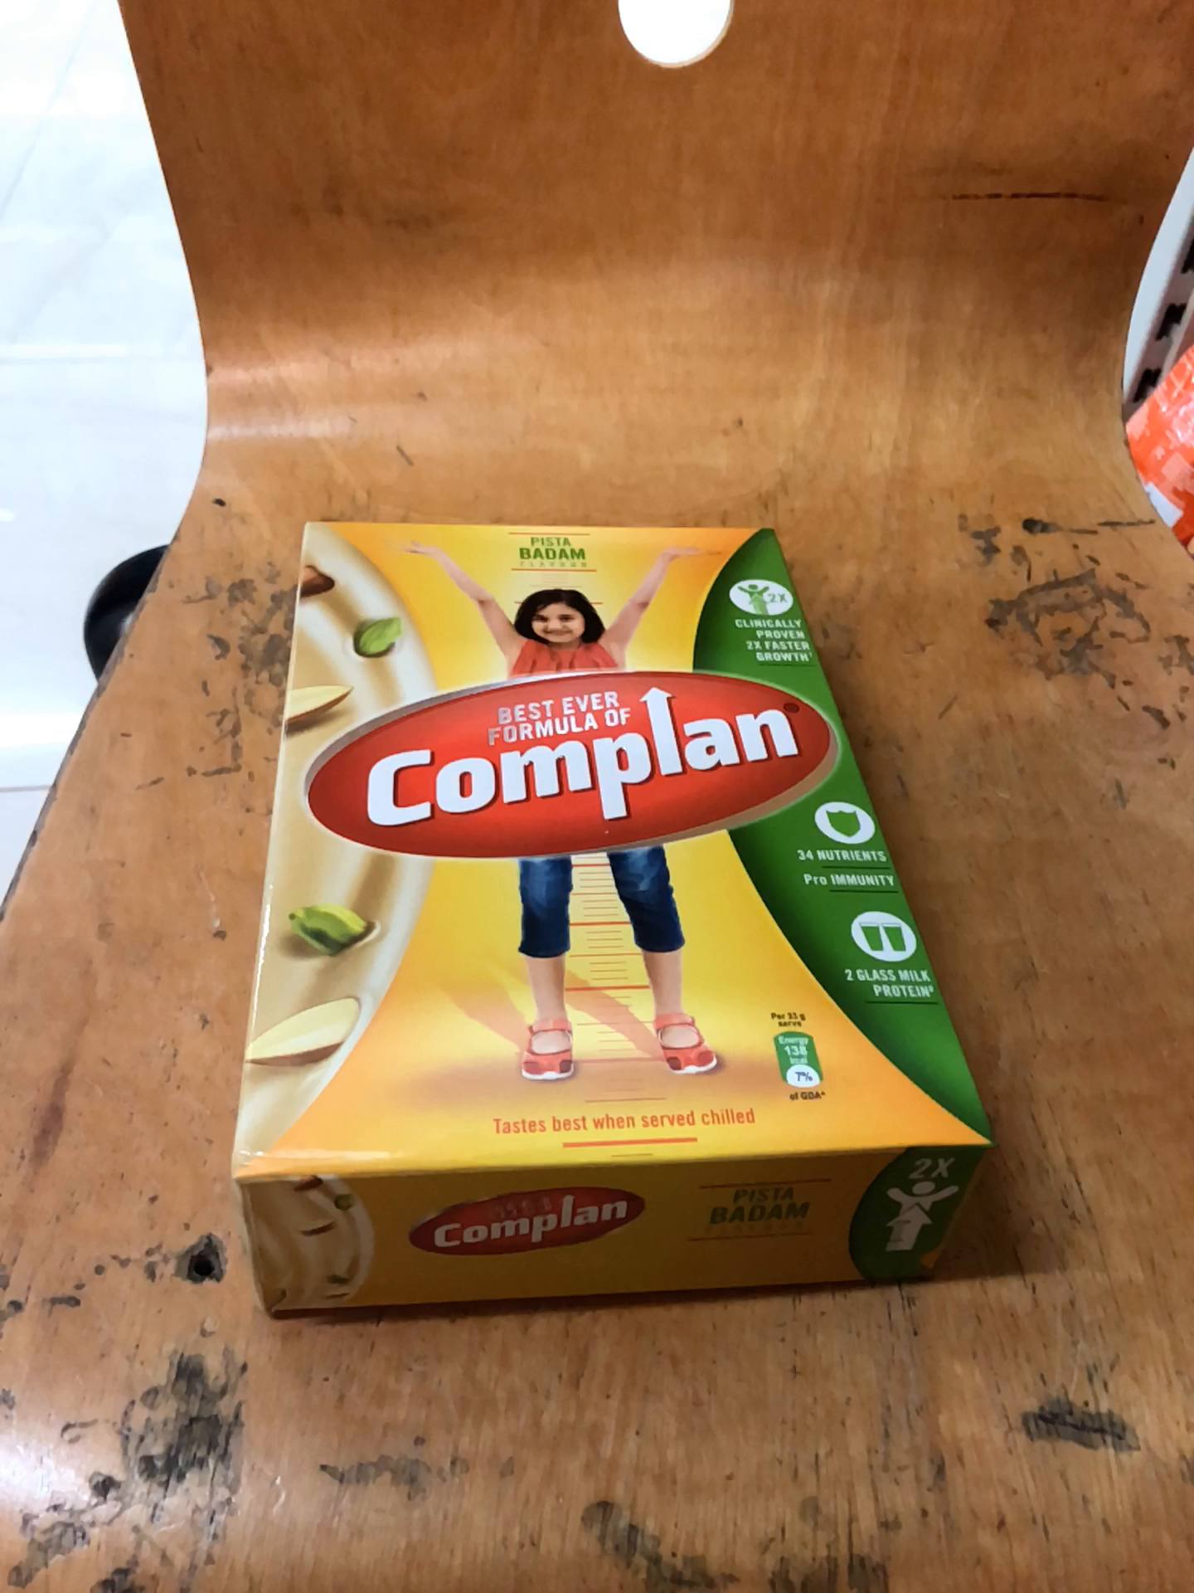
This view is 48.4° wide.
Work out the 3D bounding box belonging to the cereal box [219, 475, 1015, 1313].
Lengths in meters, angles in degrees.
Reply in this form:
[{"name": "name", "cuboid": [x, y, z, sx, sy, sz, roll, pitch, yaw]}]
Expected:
[{"name": "cereal box", "cuboid": [-0.008, 0.004, 0.326, 0.140, 0.050, 0.221, 1, 44, -9]}]
